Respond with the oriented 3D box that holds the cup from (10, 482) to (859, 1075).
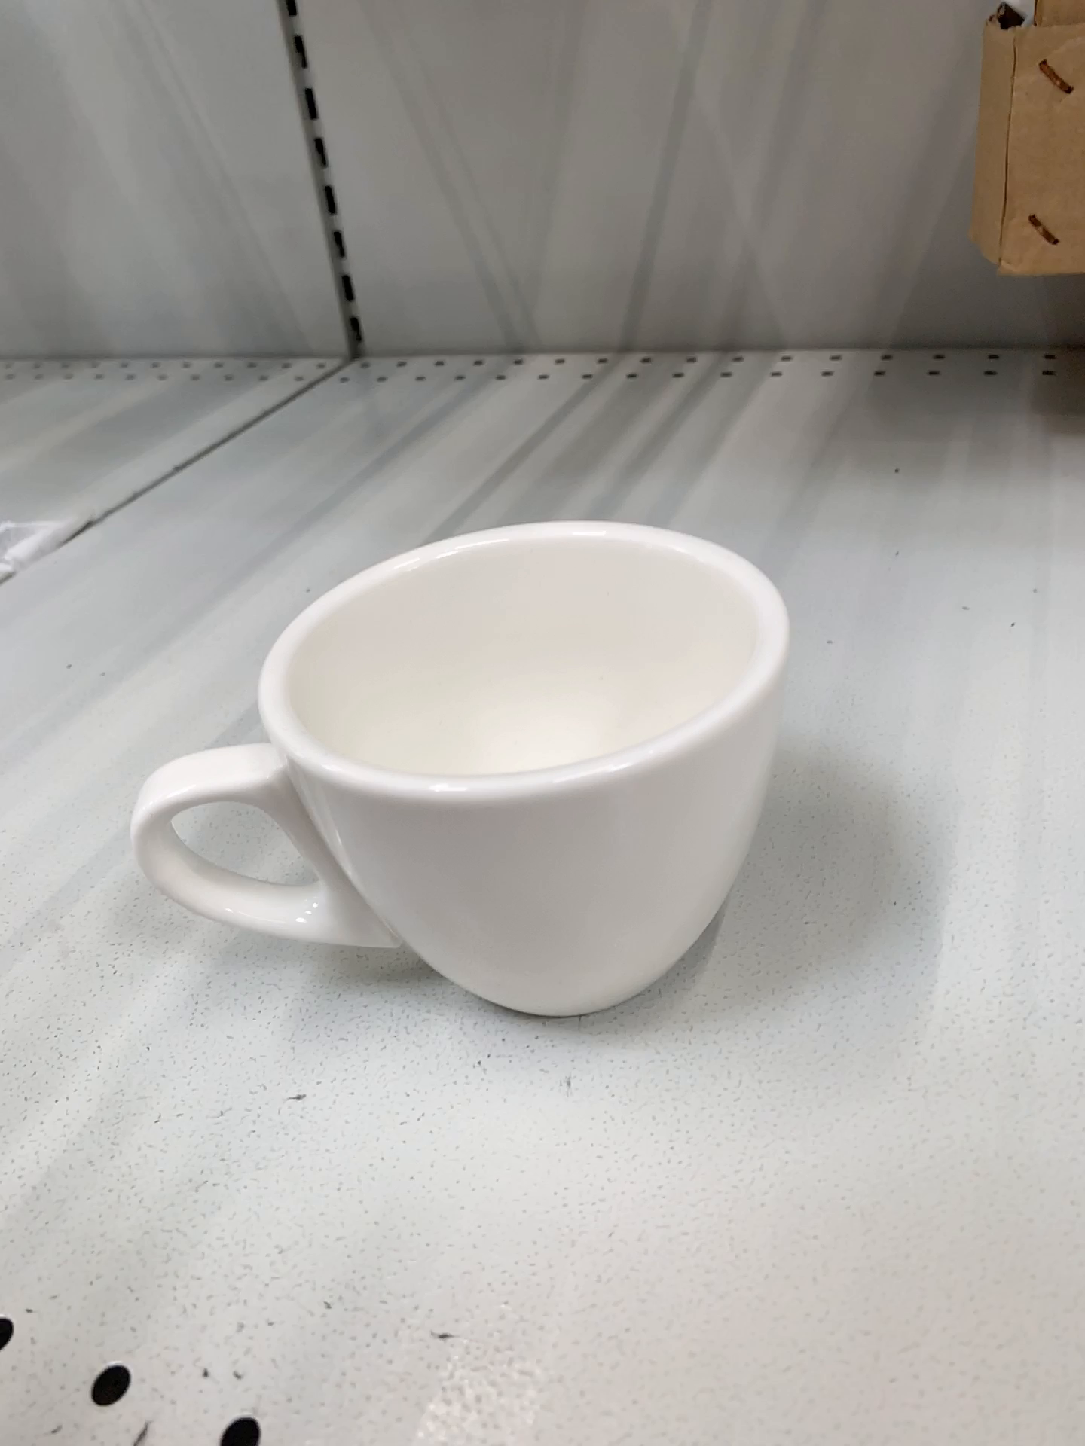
[{"bbox_3d":[-0.015,0.006,0.229,0.131,0.062,0.095,-7,33,2],"label":"cup"}]
